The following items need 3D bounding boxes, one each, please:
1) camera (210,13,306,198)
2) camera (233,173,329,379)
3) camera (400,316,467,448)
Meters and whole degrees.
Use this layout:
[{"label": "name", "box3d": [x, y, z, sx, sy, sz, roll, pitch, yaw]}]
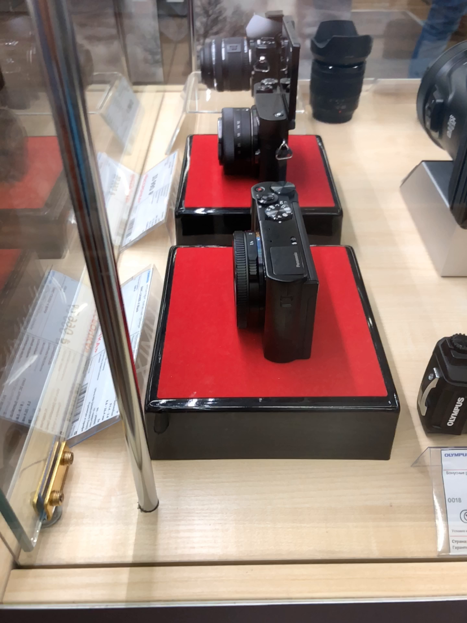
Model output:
[{"label": "camera", "box3d": [0.016, -0.173, 0.433, 0.066, 0.112, 0.111, -1, 41, 0]}, {"label": "camera", "box3d": [0.023, -0.025, 0.312, 0.040, 0.070, 0.111, -2, 41, -2]}, {"label": "camera", "box3d": [0.161, 0.041, 0.293, 0.110, 0.072, 0.034, 1, 41, 1]}]
